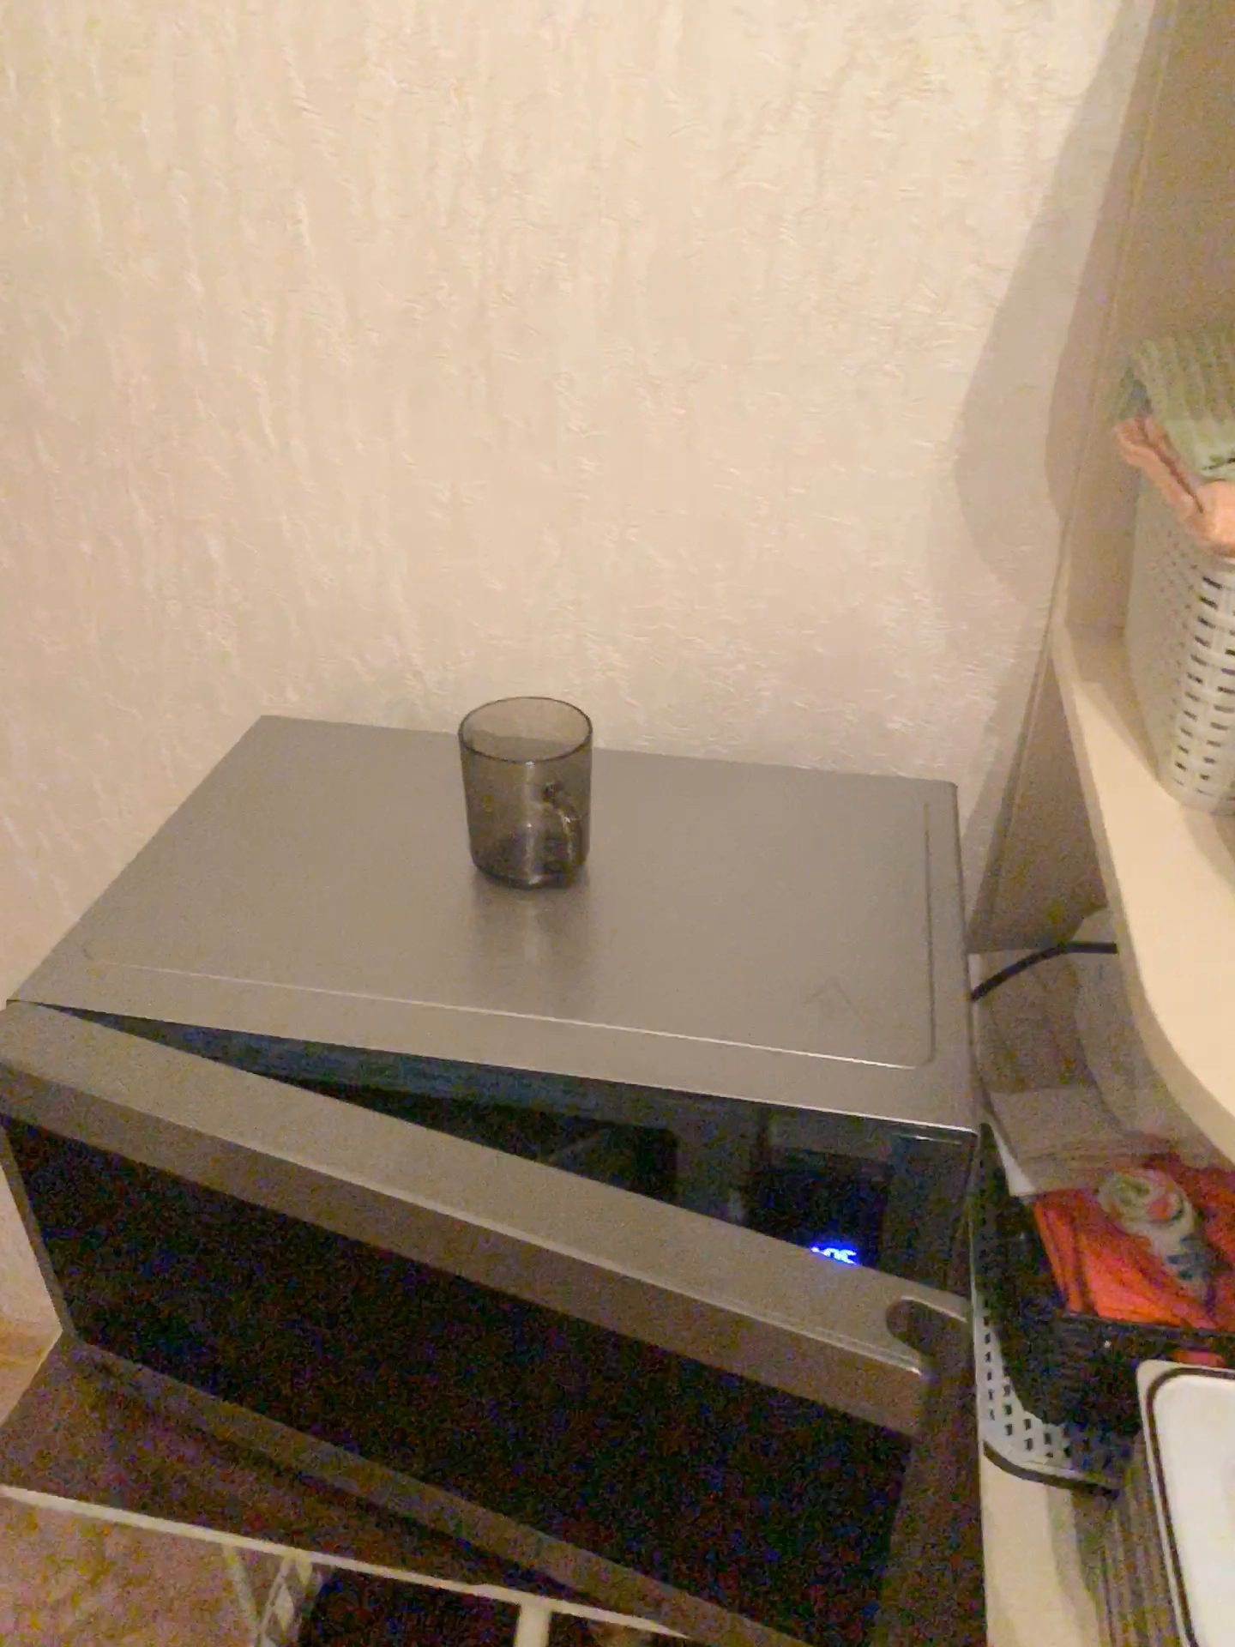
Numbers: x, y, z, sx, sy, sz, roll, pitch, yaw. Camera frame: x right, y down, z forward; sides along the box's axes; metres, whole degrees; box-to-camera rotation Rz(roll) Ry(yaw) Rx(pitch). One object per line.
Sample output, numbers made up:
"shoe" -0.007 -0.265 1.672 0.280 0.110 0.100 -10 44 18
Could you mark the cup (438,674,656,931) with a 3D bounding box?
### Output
"cup" -0.039 -0.015 0.680 0.080 0.079 0.111 -13 35 -19
